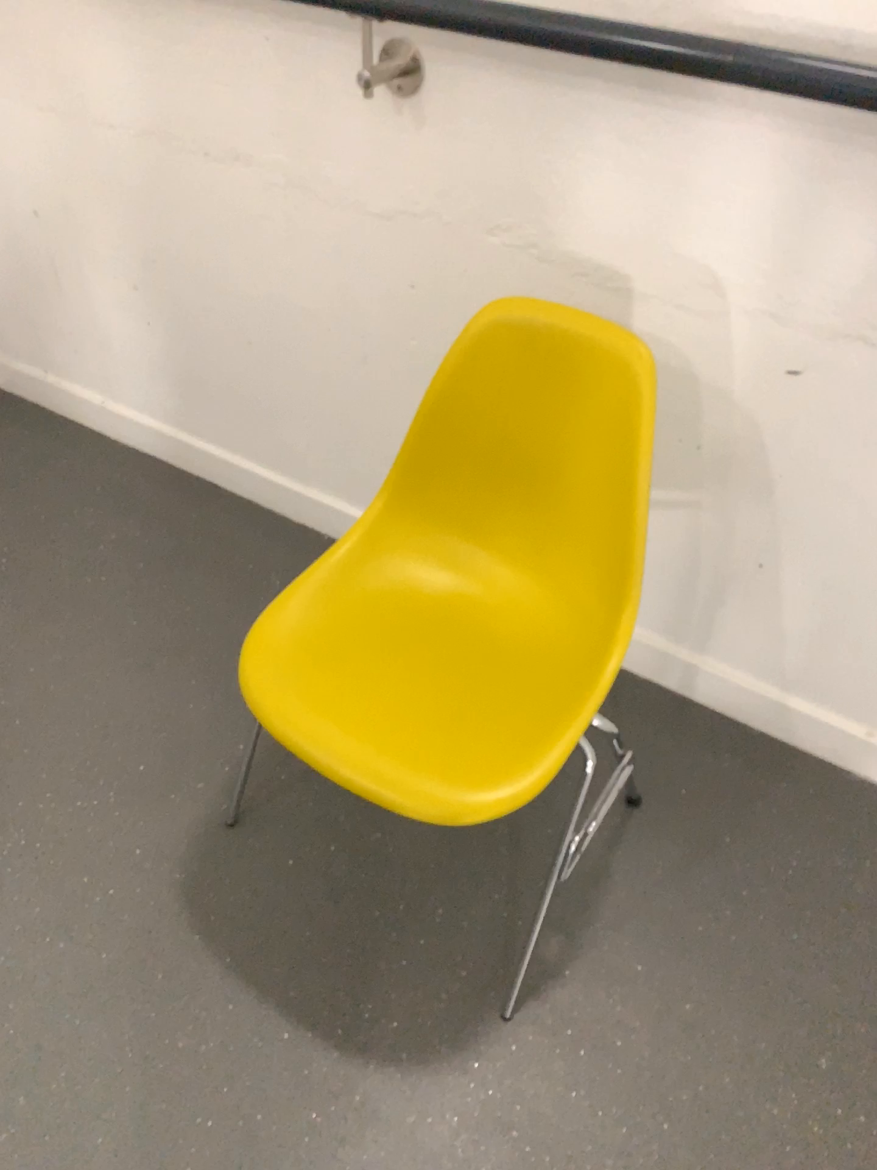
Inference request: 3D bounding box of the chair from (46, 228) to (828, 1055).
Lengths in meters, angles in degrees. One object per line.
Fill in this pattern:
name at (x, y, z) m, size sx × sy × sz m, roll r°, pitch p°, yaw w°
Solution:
chair at (0.009, 0.054, 1.203) m, size 0.622 × 0.733 × 0.564 m, roll 26°, pitch 48°, yaw 23°
